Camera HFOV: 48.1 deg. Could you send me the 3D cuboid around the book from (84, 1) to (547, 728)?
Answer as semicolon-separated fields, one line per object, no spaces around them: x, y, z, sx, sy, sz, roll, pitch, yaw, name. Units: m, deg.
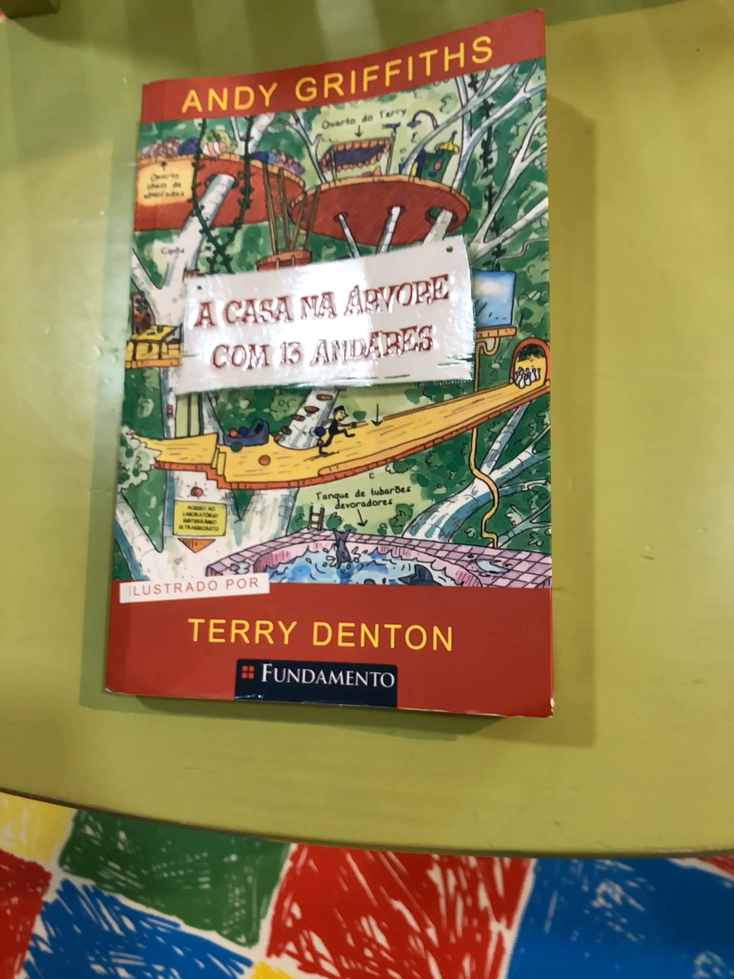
-0.013;-0.038;0.267;0.137;0.040;0.210;-1;82;14;book
